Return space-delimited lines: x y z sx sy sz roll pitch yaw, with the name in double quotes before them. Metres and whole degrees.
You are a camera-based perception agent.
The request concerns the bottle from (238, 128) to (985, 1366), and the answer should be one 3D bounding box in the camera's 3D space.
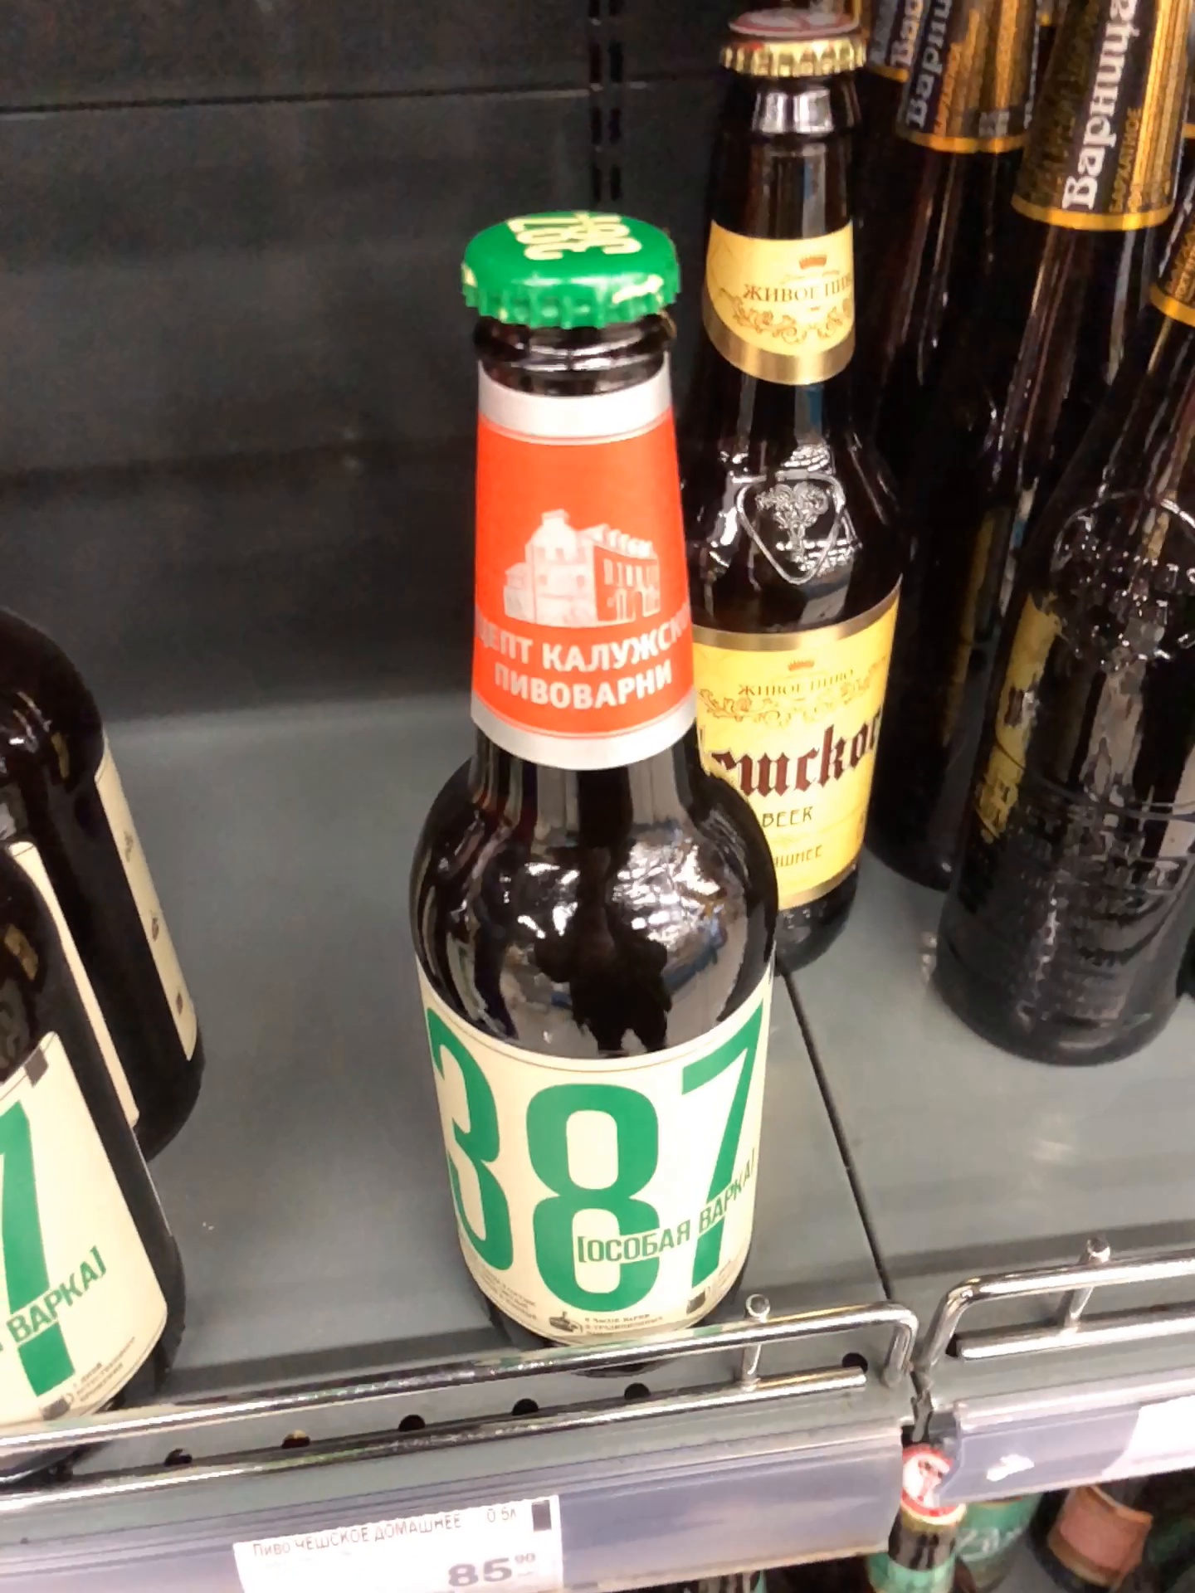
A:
"bottle" 0.004 0.012 0.242 0.080 0.229 0.070 1 40 2
